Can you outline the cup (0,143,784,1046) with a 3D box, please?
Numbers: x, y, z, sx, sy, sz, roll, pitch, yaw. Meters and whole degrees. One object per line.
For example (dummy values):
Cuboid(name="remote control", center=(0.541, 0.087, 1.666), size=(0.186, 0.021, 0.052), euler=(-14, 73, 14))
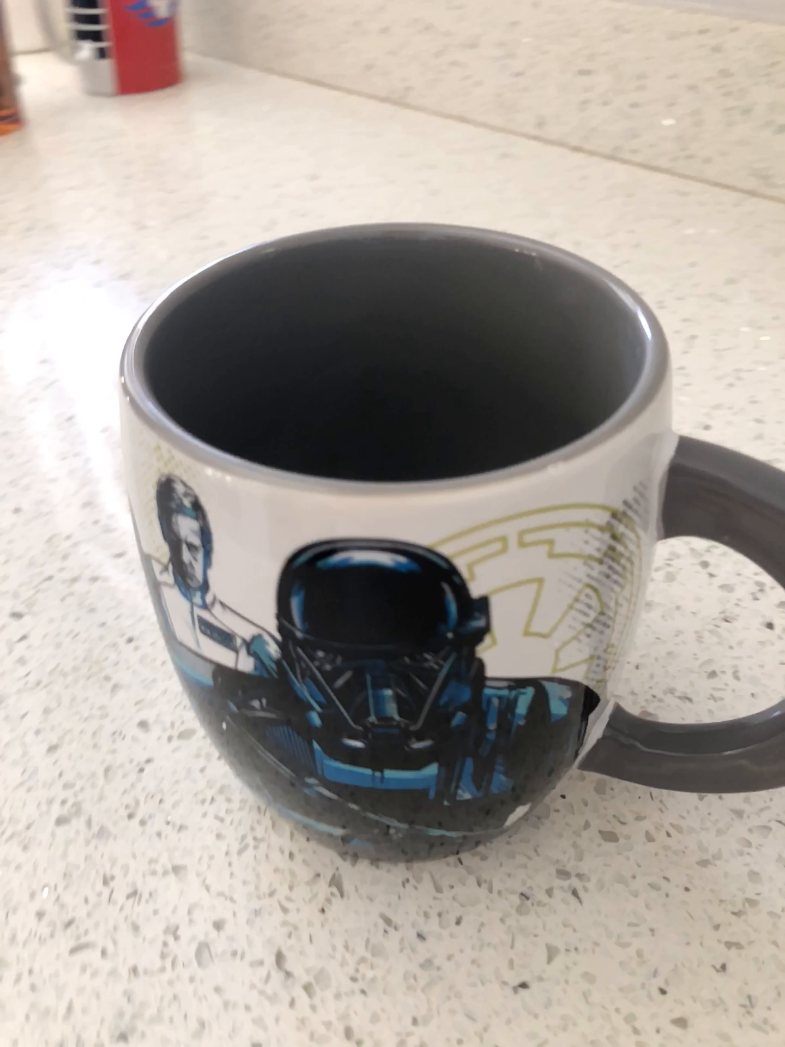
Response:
Cuboid(name="cup", center=(0.014, 0.001, 0.166), size=(0.140, 0.100, 0.100), euler=(14, 42, 19))
